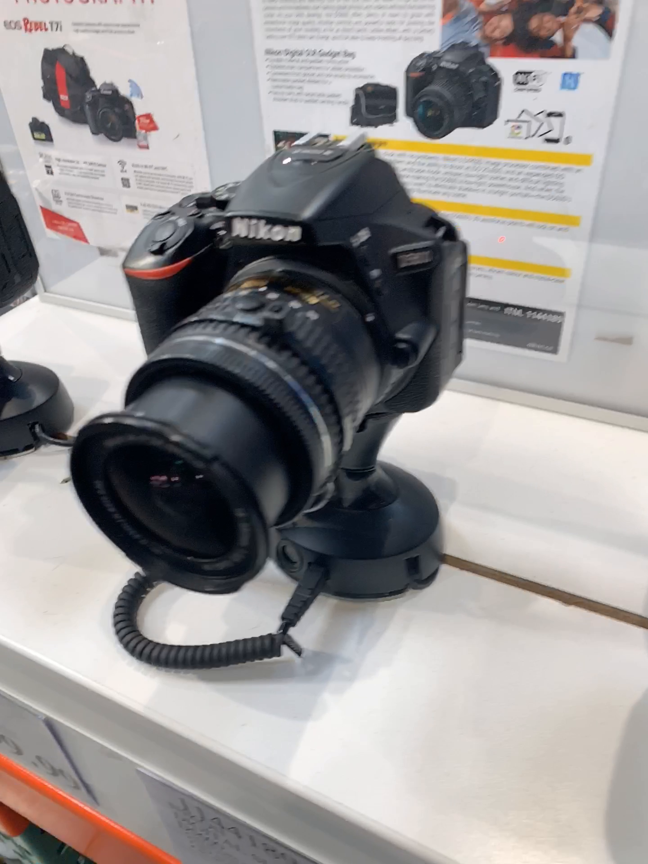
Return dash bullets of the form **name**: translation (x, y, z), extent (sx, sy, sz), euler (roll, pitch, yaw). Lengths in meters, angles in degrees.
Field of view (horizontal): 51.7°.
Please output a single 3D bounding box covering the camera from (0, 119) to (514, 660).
- **camera**: translation (-0.016, -0.031, 0.209), extent (0.111, 0.090, 0.140), euler (12, 40, 21)
